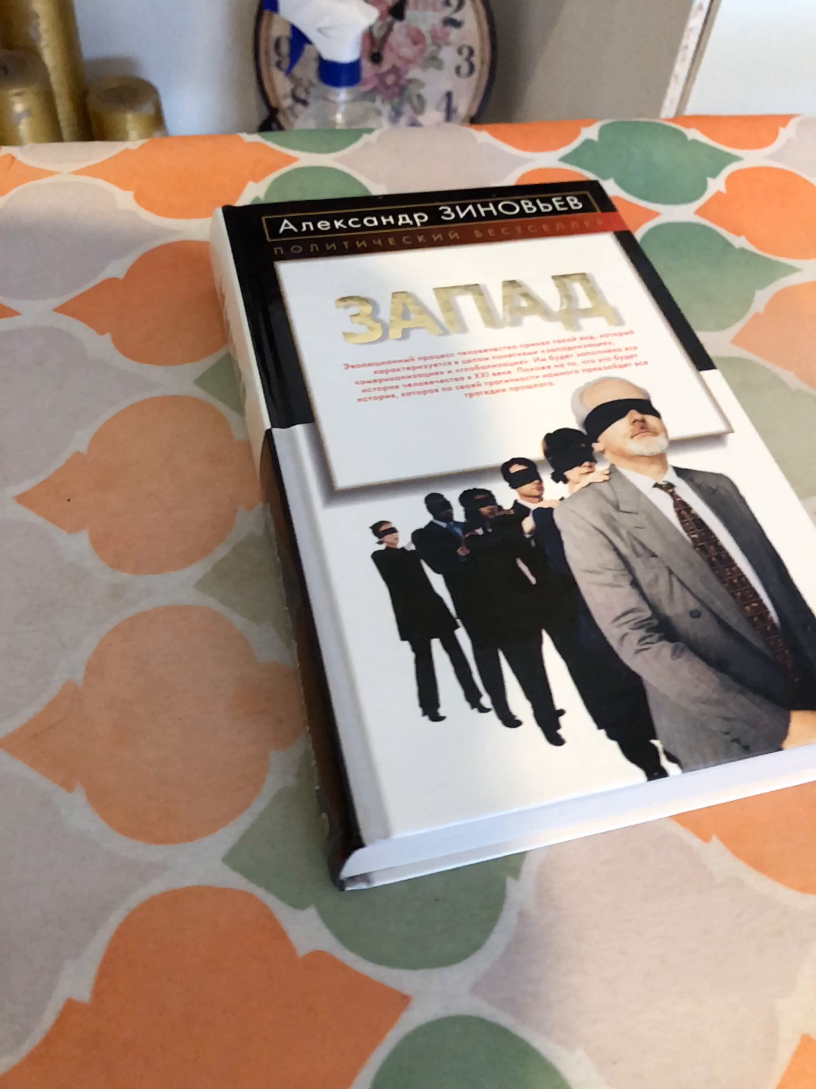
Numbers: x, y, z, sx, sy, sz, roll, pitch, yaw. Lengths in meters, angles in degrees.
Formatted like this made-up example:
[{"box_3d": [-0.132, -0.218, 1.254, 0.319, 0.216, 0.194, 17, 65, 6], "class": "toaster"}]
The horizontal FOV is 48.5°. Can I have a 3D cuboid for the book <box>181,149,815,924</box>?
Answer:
[{"box_3d": [0.021, -0.028, 0.256, 0.140, 0.040, 0.221, -9, 55, -12], "class": "book"}]
